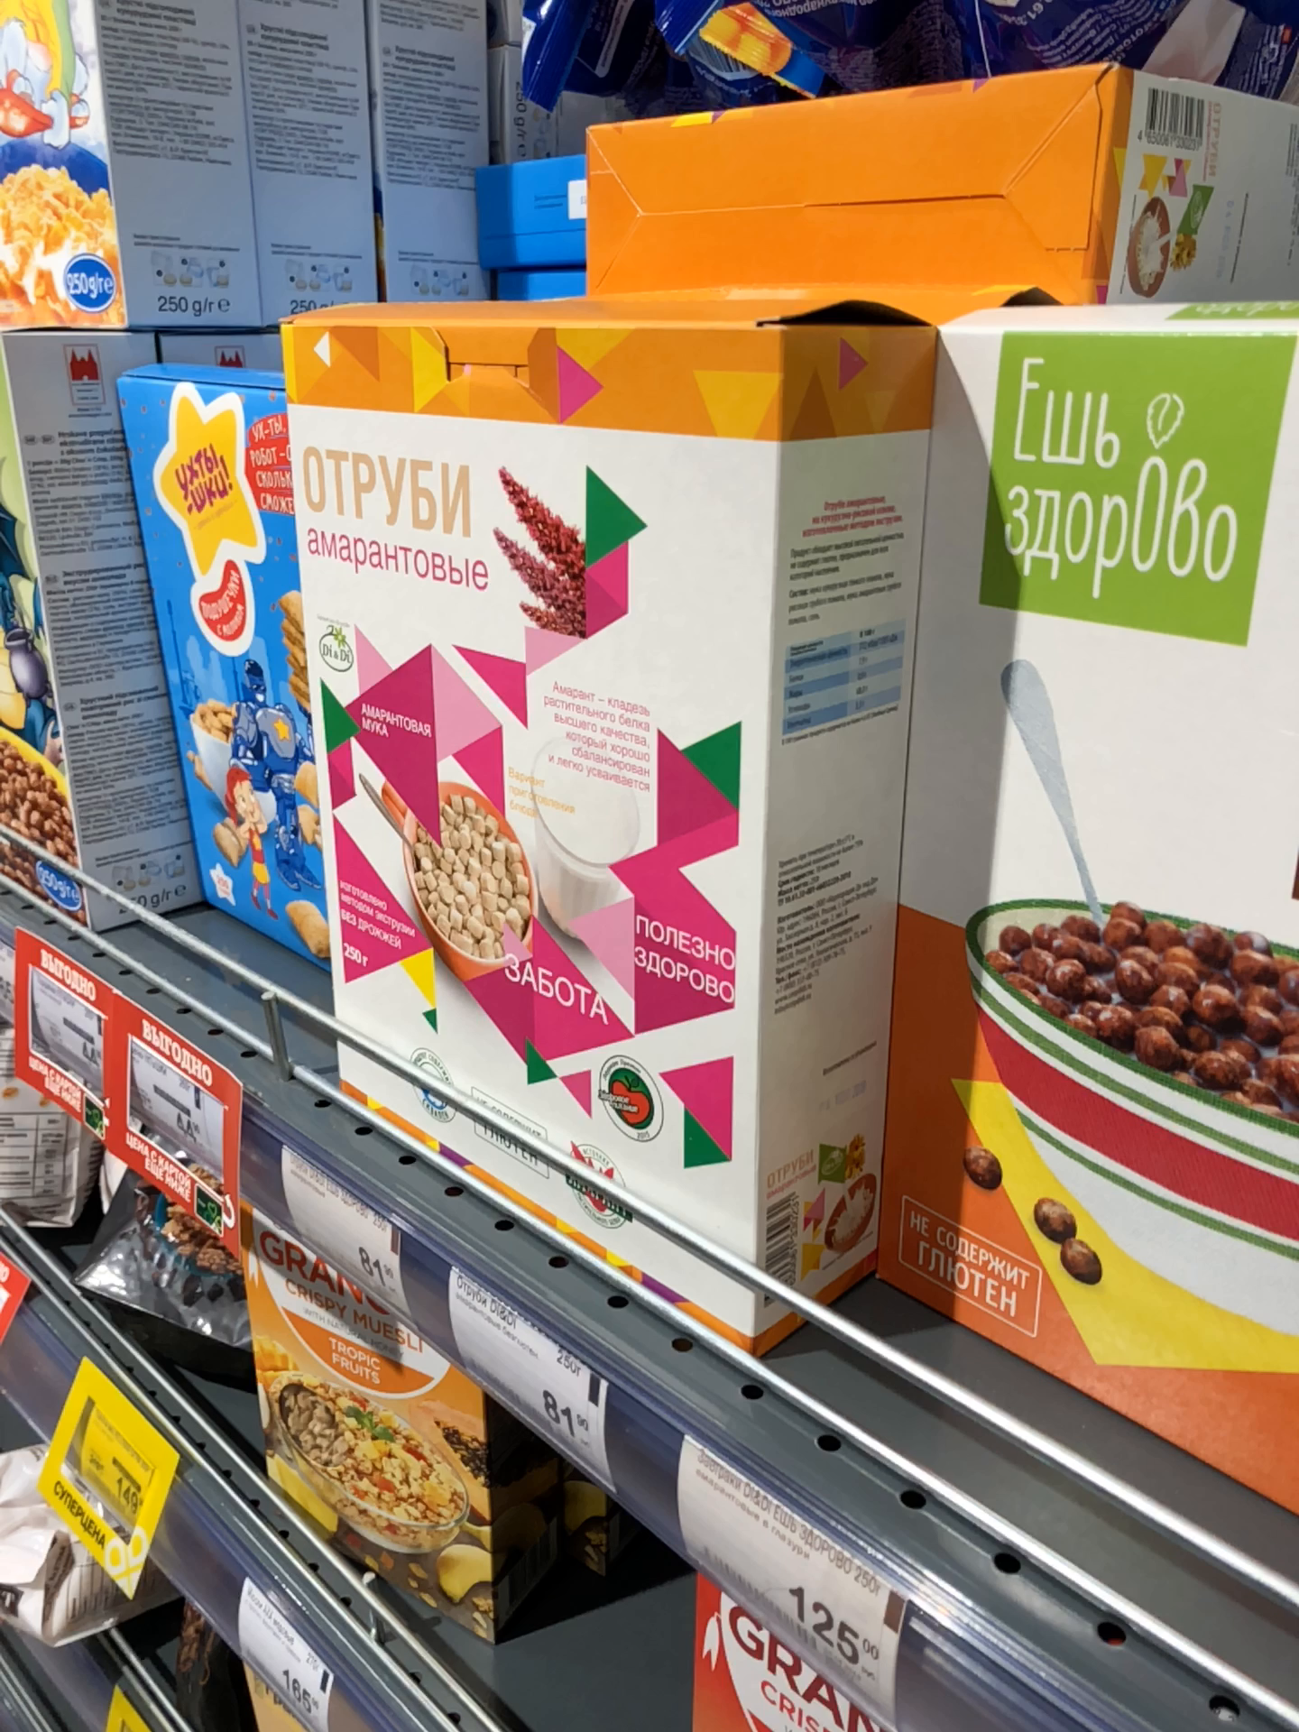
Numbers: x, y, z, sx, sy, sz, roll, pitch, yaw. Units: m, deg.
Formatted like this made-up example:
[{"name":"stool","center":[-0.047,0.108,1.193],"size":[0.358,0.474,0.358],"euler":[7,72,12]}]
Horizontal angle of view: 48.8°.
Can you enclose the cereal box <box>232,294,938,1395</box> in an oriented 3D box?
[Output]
[{"name":"cereal box","center":[-0.027,-0.021,0.405],"size":[0.060,0.259,0.201],"euler":[-19,27,-40]}]
